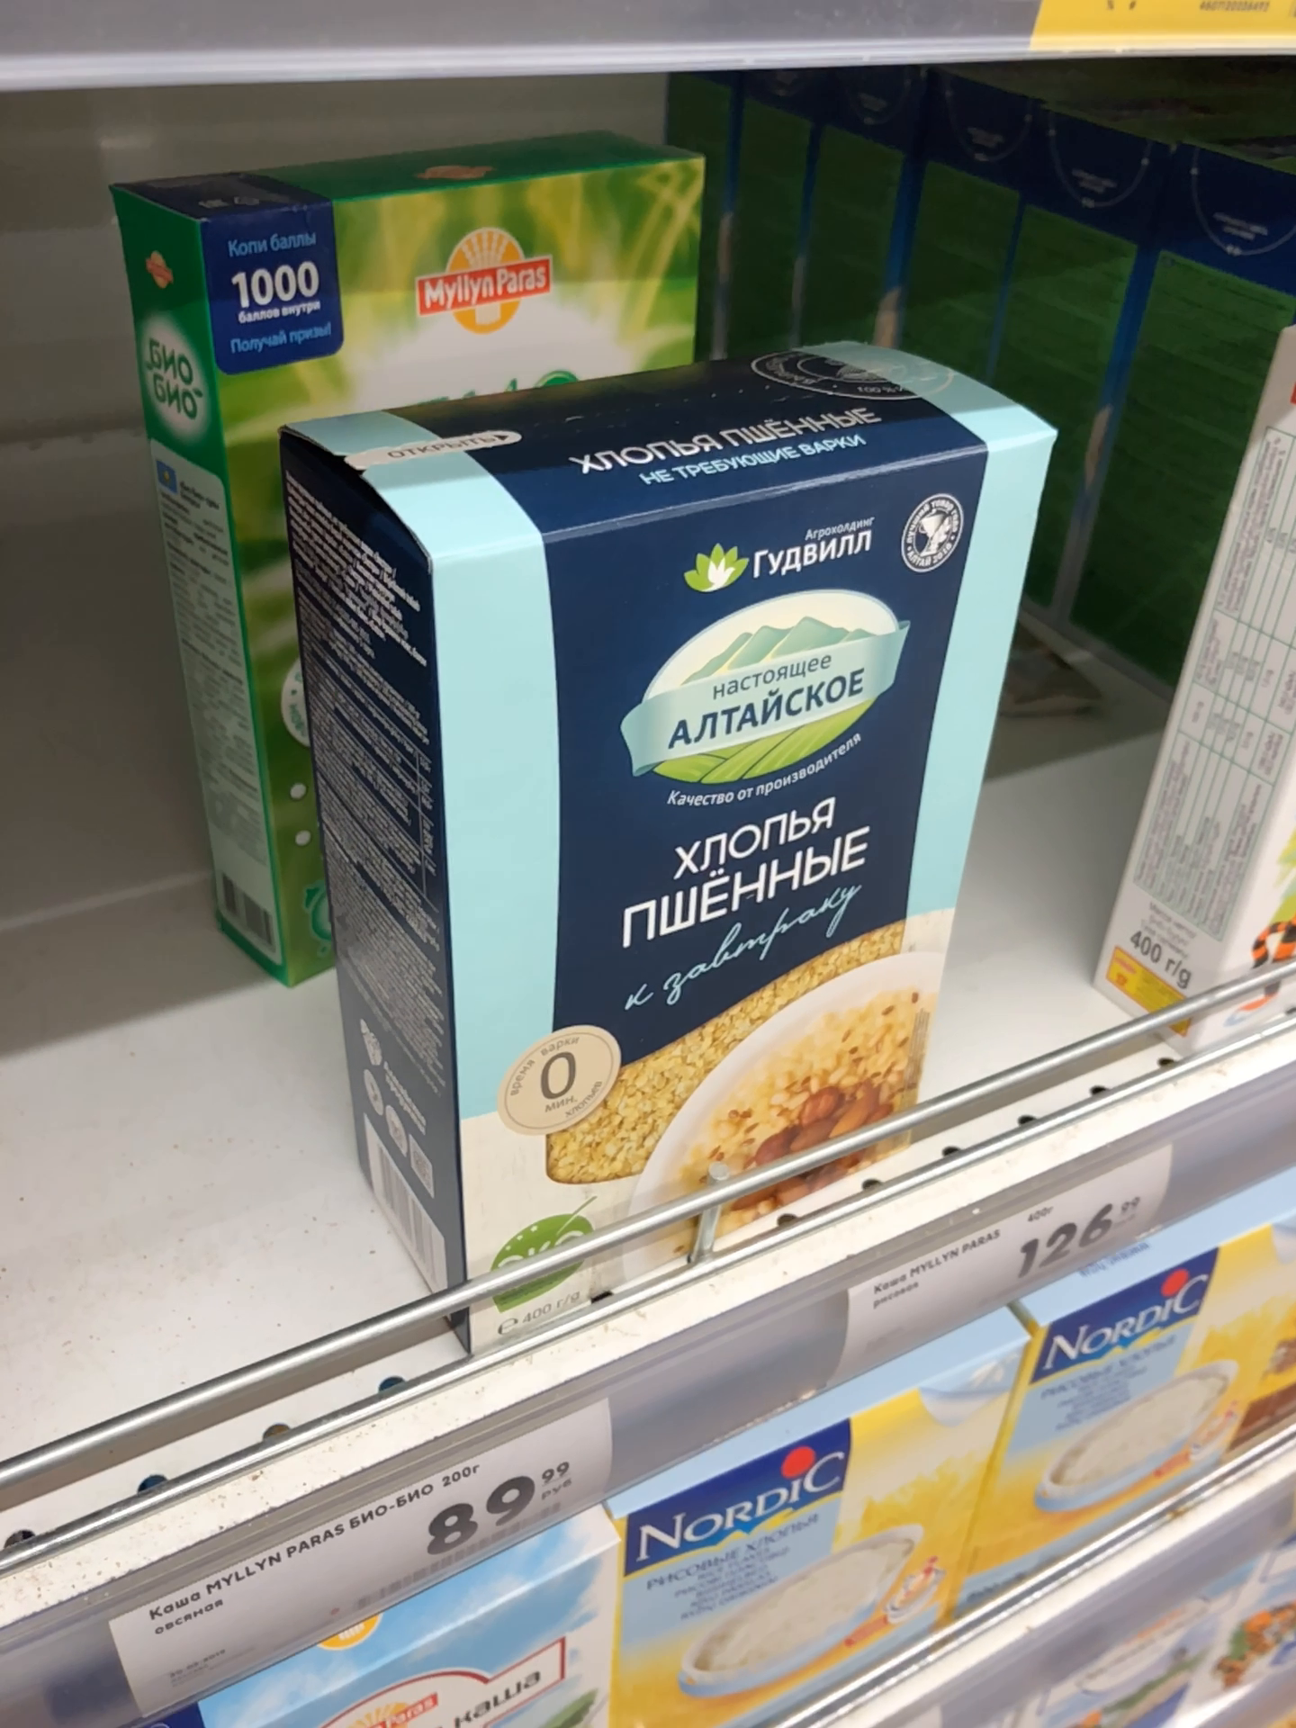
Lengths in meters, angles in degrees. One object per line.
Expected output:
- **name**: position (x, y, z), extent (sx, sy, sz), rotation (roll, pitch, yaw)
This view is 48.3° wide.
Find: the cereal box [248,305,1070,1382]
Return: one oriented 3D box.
- **cereal box**: position (0.000, -0.001, 0.308), extent (0.130, 0.199, 0.060), rotation (-18, 41, -27)
